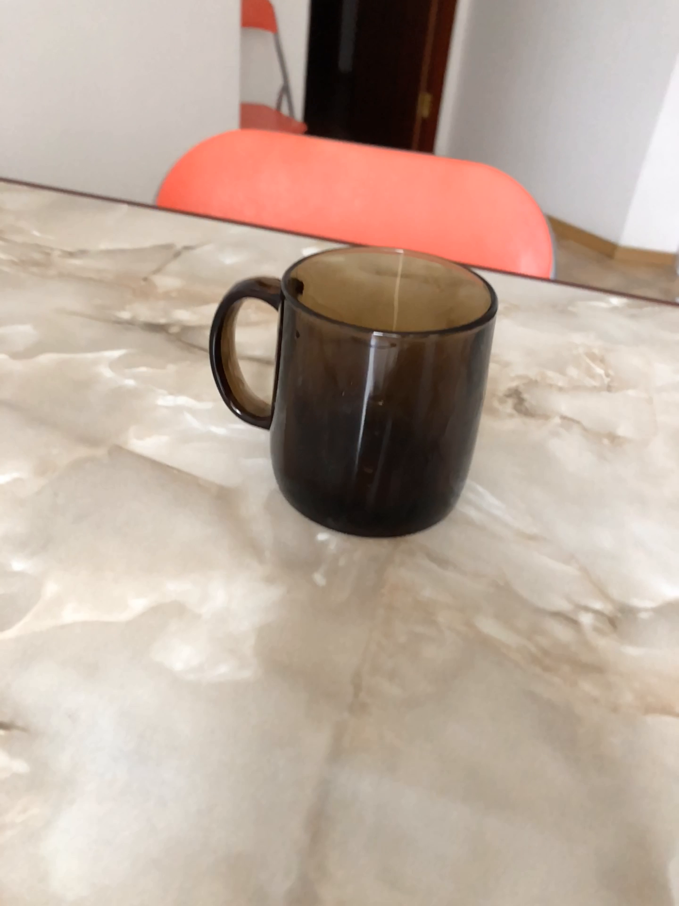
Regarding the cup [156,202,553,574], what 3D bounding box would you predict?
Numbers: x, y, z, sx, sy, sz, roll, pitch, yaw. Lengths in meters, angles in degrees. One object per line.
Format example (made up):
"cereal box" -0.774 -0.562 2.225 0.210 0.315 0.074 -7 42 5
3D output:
"cup" 0.005 -0.034 0.307 0.122 0.090 0.091 21 37 20
